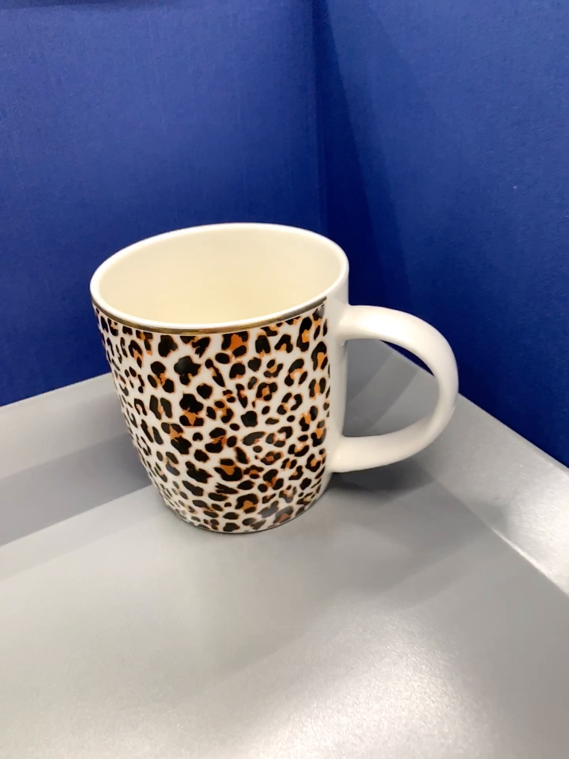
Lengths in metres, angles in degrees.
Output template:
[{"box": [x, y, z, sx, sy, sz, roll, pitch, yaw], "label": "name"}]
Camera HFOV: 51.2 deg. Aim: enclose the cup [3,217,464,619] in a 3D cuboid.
[{"box": [-0.007, 0.003, 0.223, 0.126, 0.095, 0.099, 7, 33, 18], "label": "cup"}]
